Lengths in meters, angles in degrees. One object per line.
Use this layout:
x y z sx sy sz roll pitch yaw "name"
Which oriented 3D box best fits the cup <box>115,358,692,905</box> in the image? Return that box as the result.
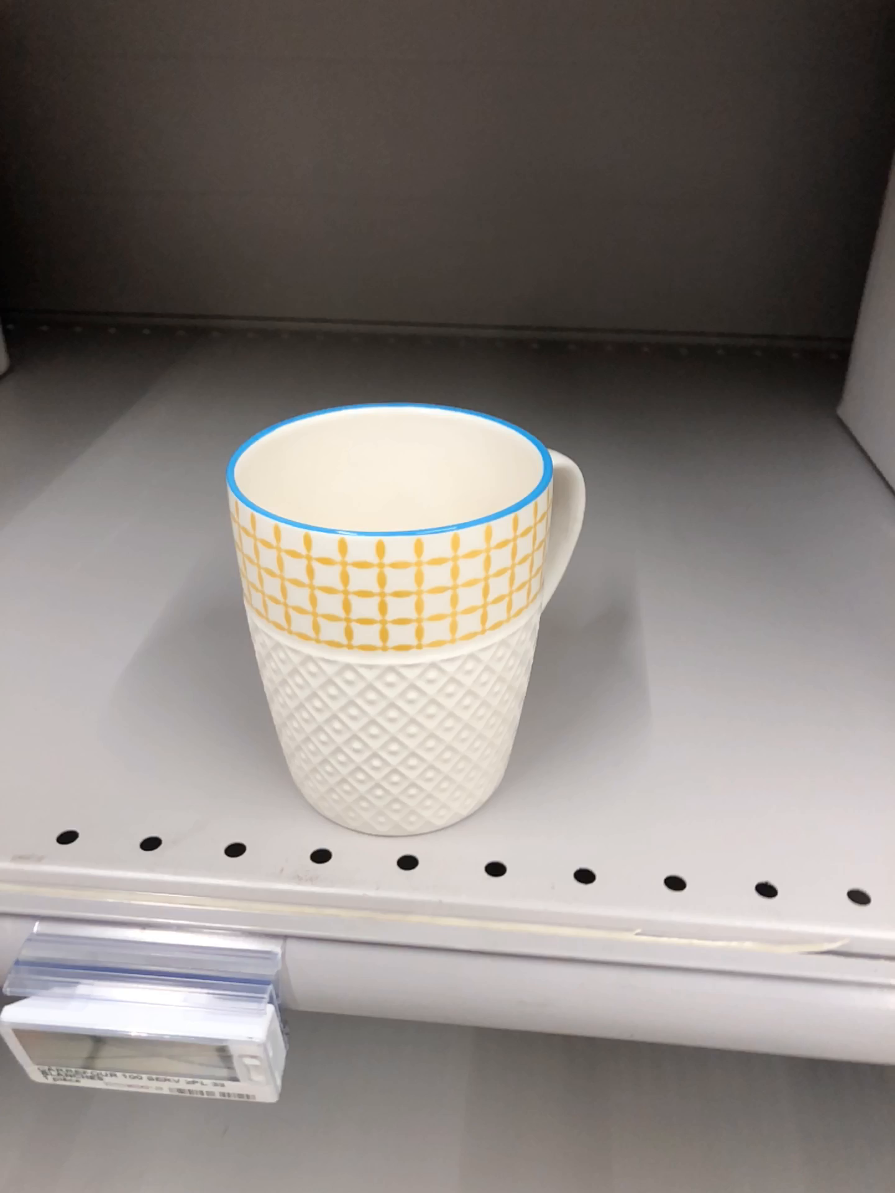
-0.008 -0.003 0.292 0.105 0.092 0.118 21 38 37 "cup"
